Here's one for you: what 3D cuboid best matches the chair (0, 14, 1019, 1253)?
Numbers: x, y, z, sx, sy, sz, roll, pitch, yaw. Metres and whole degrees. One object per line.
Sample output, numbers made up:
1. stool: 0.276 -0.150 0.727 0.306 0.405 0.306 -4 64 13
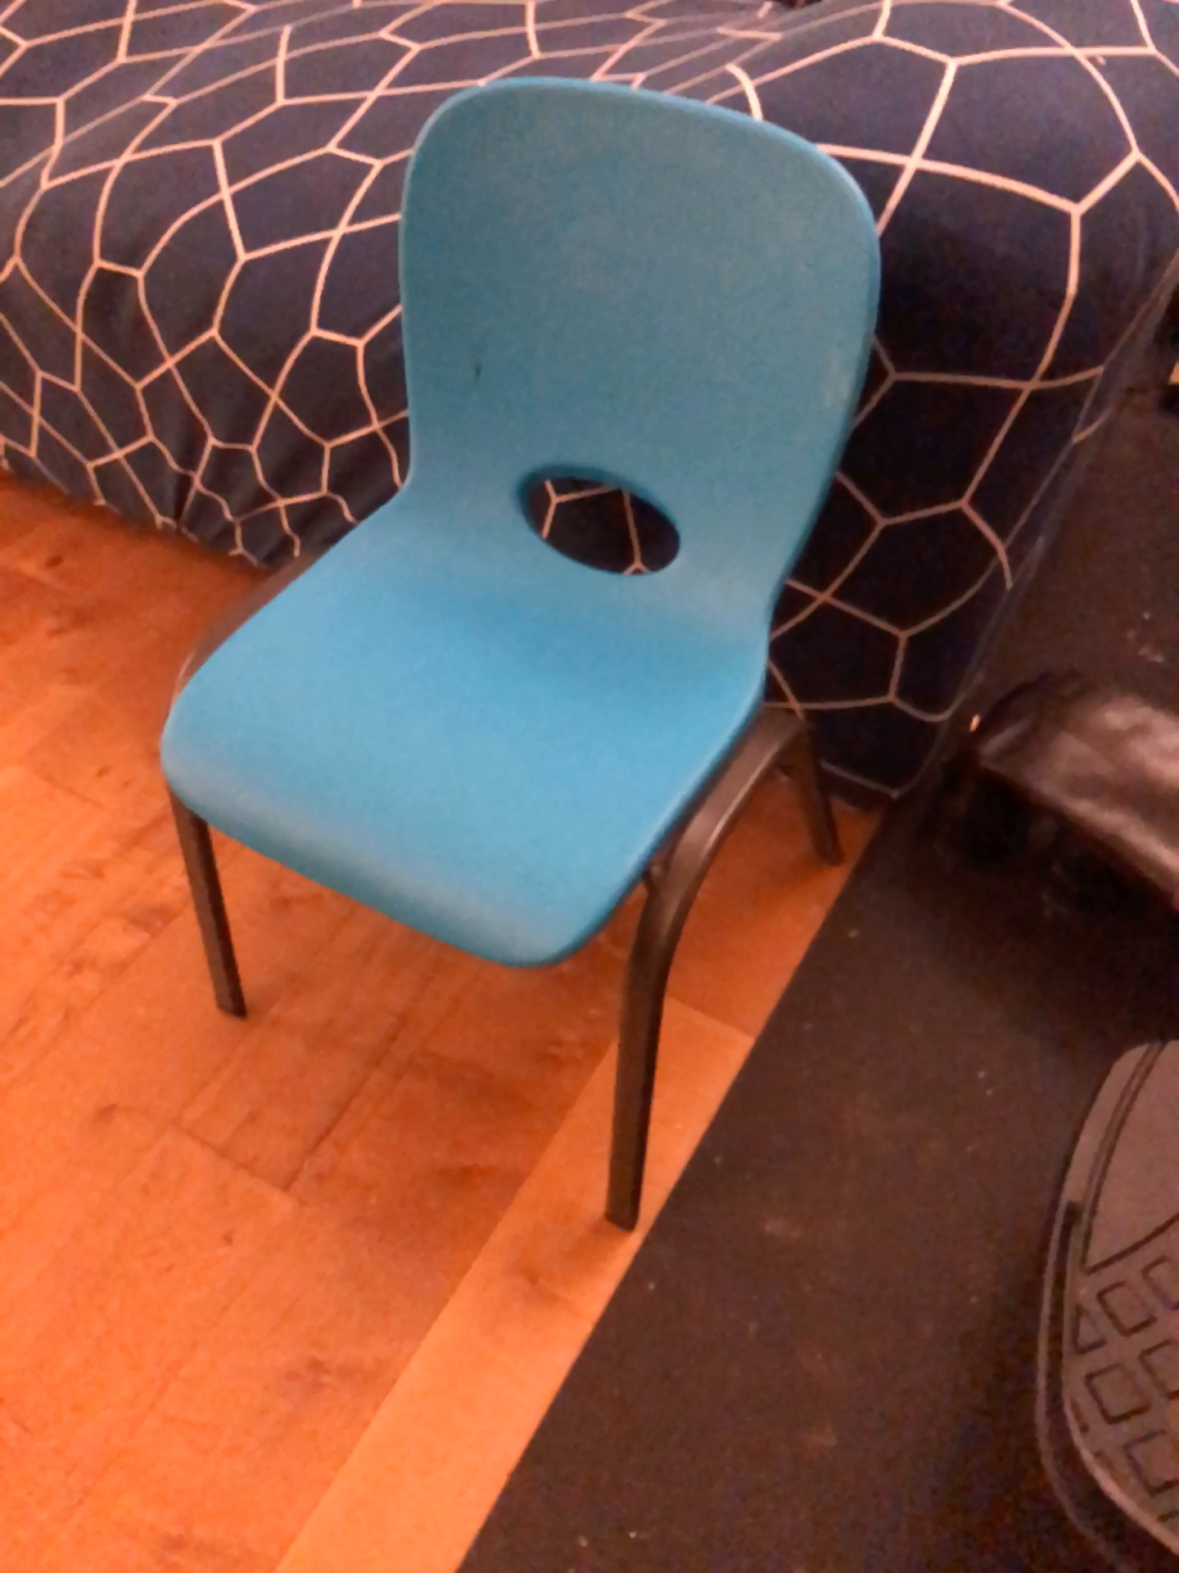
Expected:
1. chair: -0.063 -0.089 0.804 0.431 0.527 0.402 21 52 18
